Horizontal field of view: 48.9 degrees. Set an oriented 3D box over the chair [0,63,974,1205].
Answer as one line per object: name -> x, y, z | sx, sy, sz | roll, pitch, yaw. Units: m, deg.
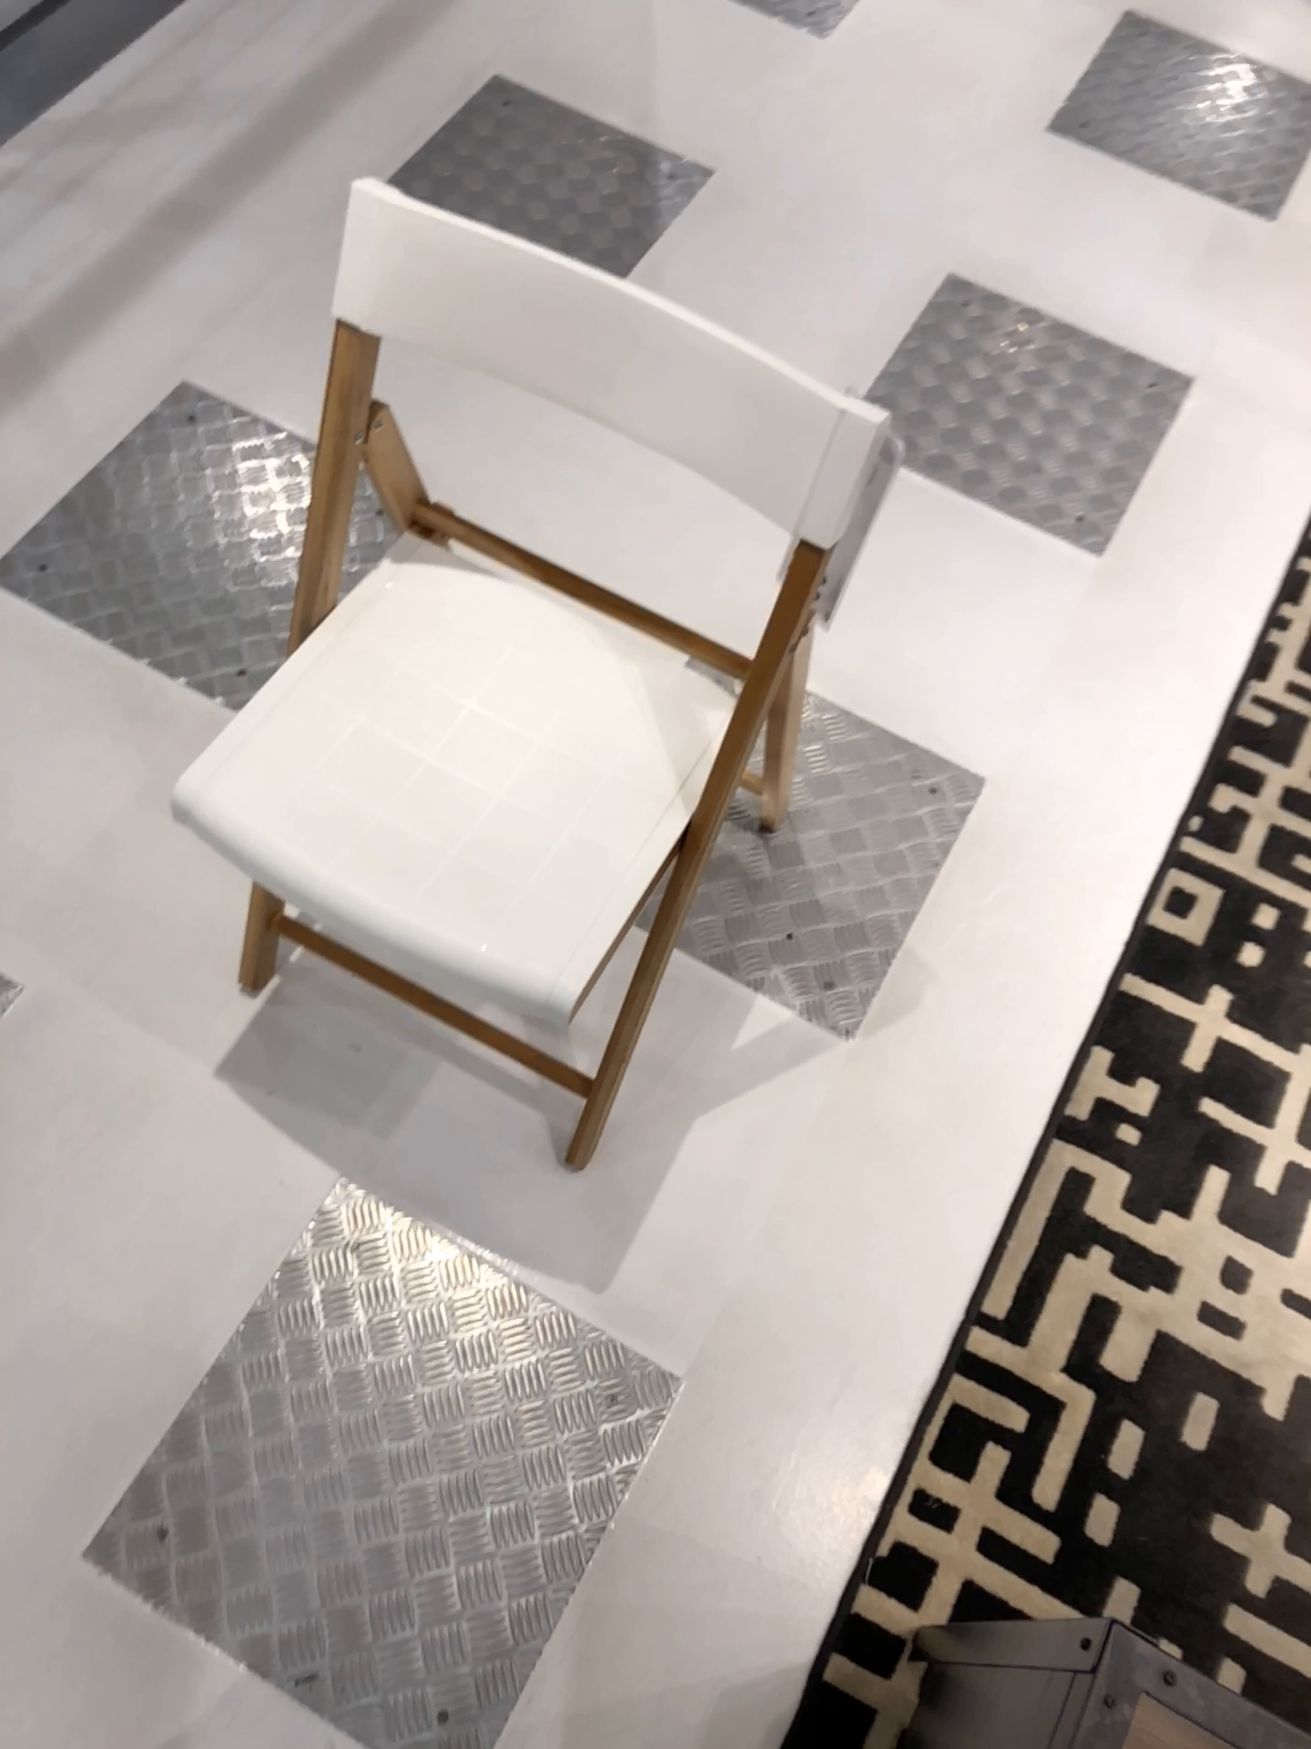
chair -> -0.131, -0.153, 1.276 | 0.470, 0.707, 0.552 | 27, 63, 9
